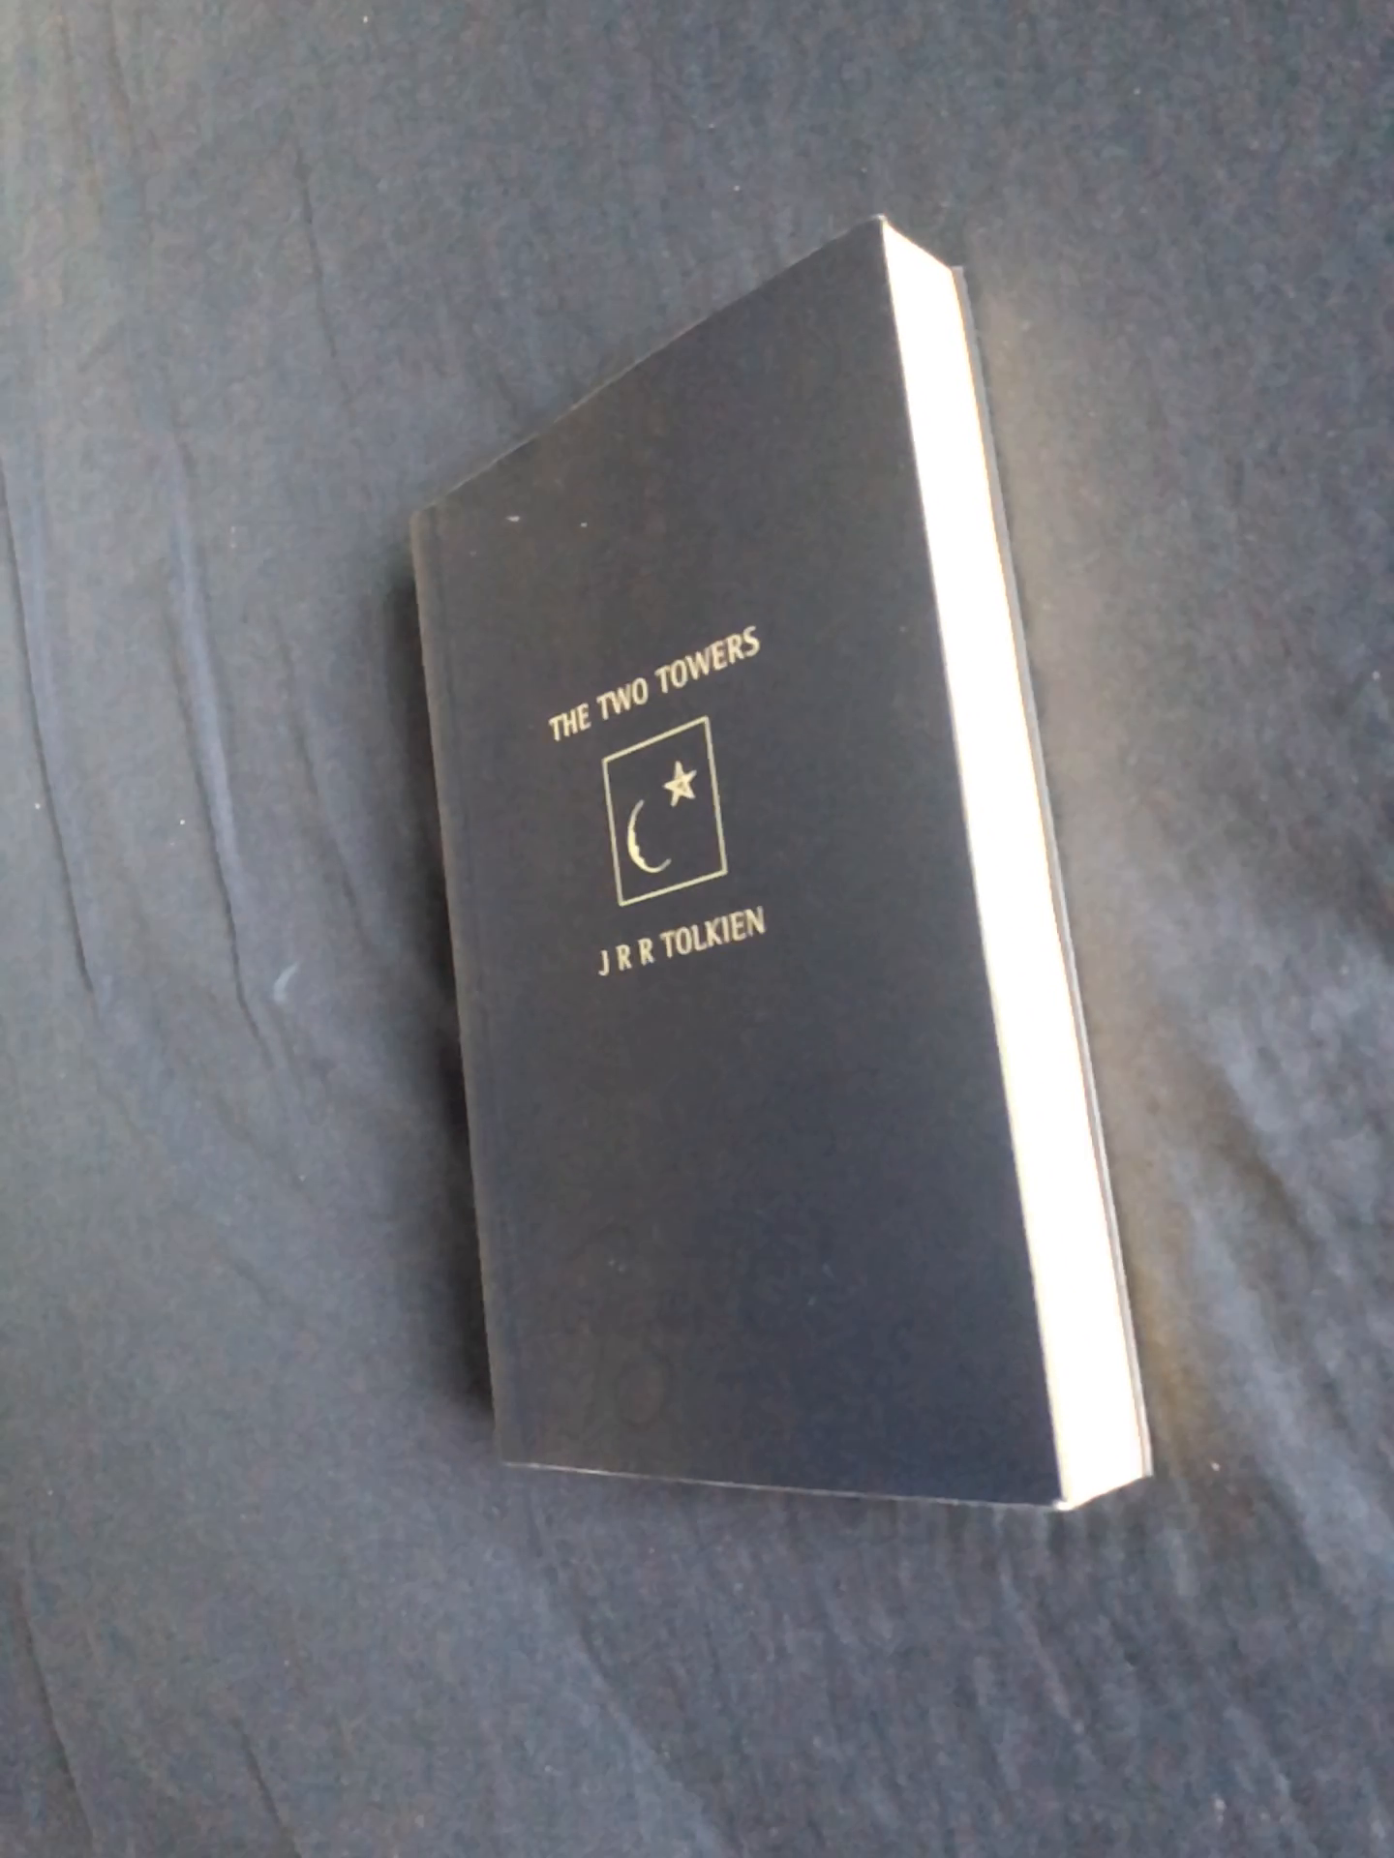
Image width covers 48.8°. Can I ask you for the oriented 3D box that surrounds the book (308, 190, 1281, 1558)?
[{"bbox_3d":[0.005,0.001,0.274,0.141,0.060,0.190,-17,77,40],"label":"book"}]
